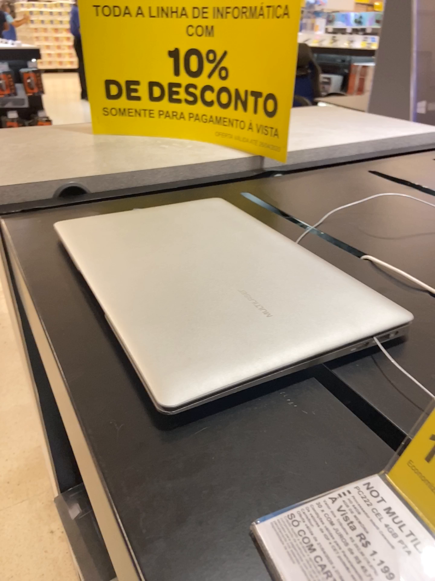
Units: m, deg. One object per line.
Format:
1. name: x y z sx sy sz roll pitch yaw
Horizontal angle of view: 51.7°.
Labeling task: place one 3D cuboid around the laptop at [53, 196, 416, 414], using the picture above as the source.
1. laptop: -0.015 -0.026 0.417 0.205 0.003 0.316 -15 34 -25
